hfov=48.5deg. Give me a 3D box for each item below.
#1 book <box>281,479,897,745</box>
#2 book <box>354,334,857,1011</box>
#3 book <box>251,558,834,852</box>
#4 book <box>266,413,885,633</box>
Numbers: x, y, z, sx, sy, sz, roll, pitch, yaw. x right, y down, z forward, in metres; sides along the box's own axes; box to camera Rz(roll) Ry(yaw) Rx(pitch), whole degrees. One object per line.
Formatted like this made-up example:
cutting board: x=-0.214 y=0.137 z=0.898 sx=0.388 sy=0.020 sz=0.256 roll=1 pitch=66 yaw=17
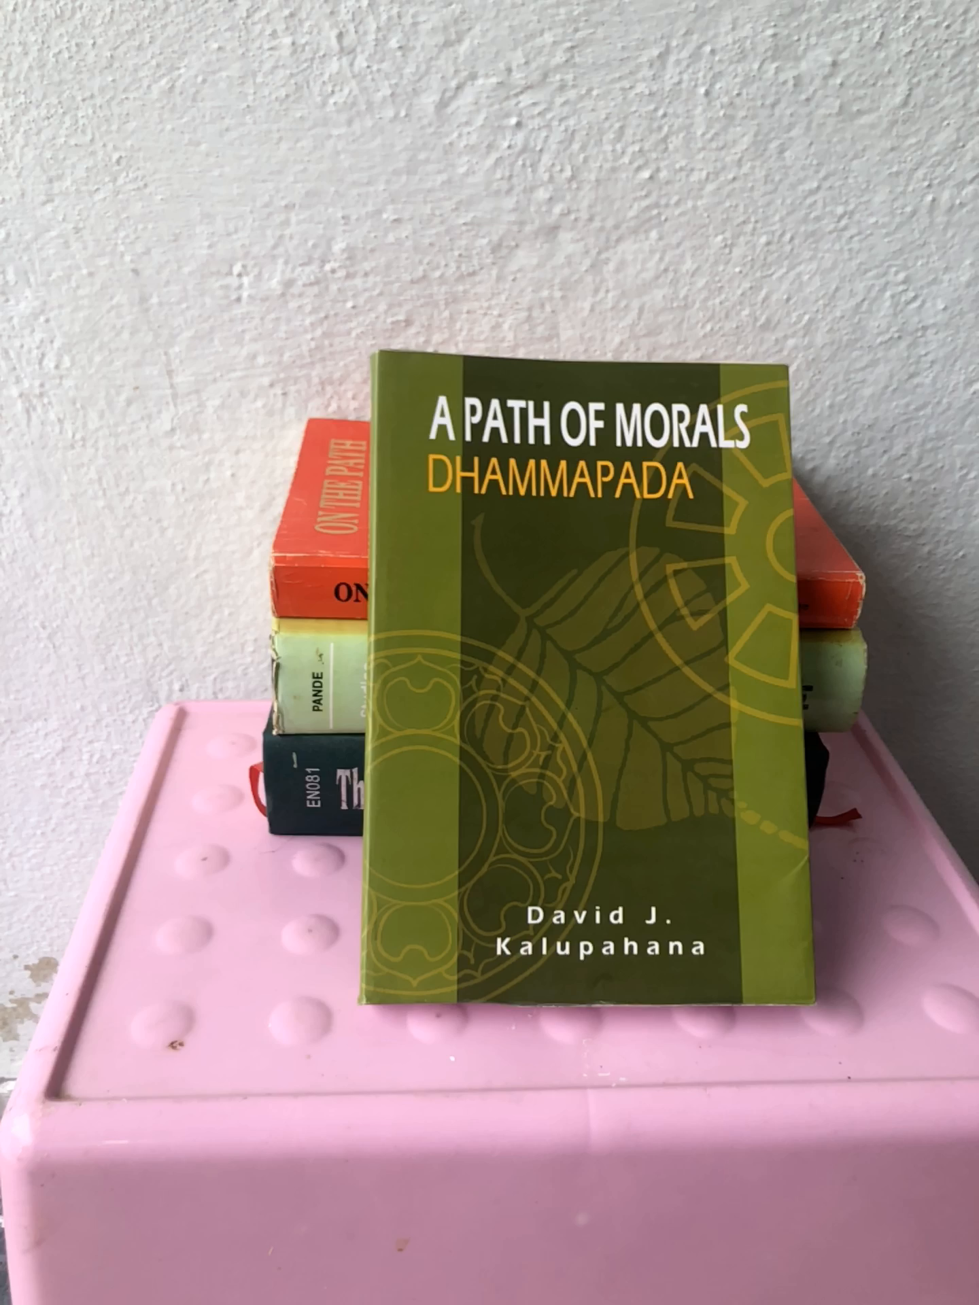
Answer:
book: x=0.031 y=-0.024 z=0.448 sx=0.210 sy=0.040 sz=0.161 roll=0 pitch=29 yaw=-3
book: x=0.036 y=0.005 z=0.359 sx=0.150 sy=0.210 sz=0.040 roll=2 pitch=-10 yaw=-4
book: x=0.018 y=0.015 z=0.473 sx=0.210 sy=0.050 sz=0.161 roll=0 pitch=29 yaw=-1
book: x=0.027 y=-0.060 z=0.444 sx=0.210 sy=0.030 sz=0.161 roll=0 pitch=29 yaw=-3
